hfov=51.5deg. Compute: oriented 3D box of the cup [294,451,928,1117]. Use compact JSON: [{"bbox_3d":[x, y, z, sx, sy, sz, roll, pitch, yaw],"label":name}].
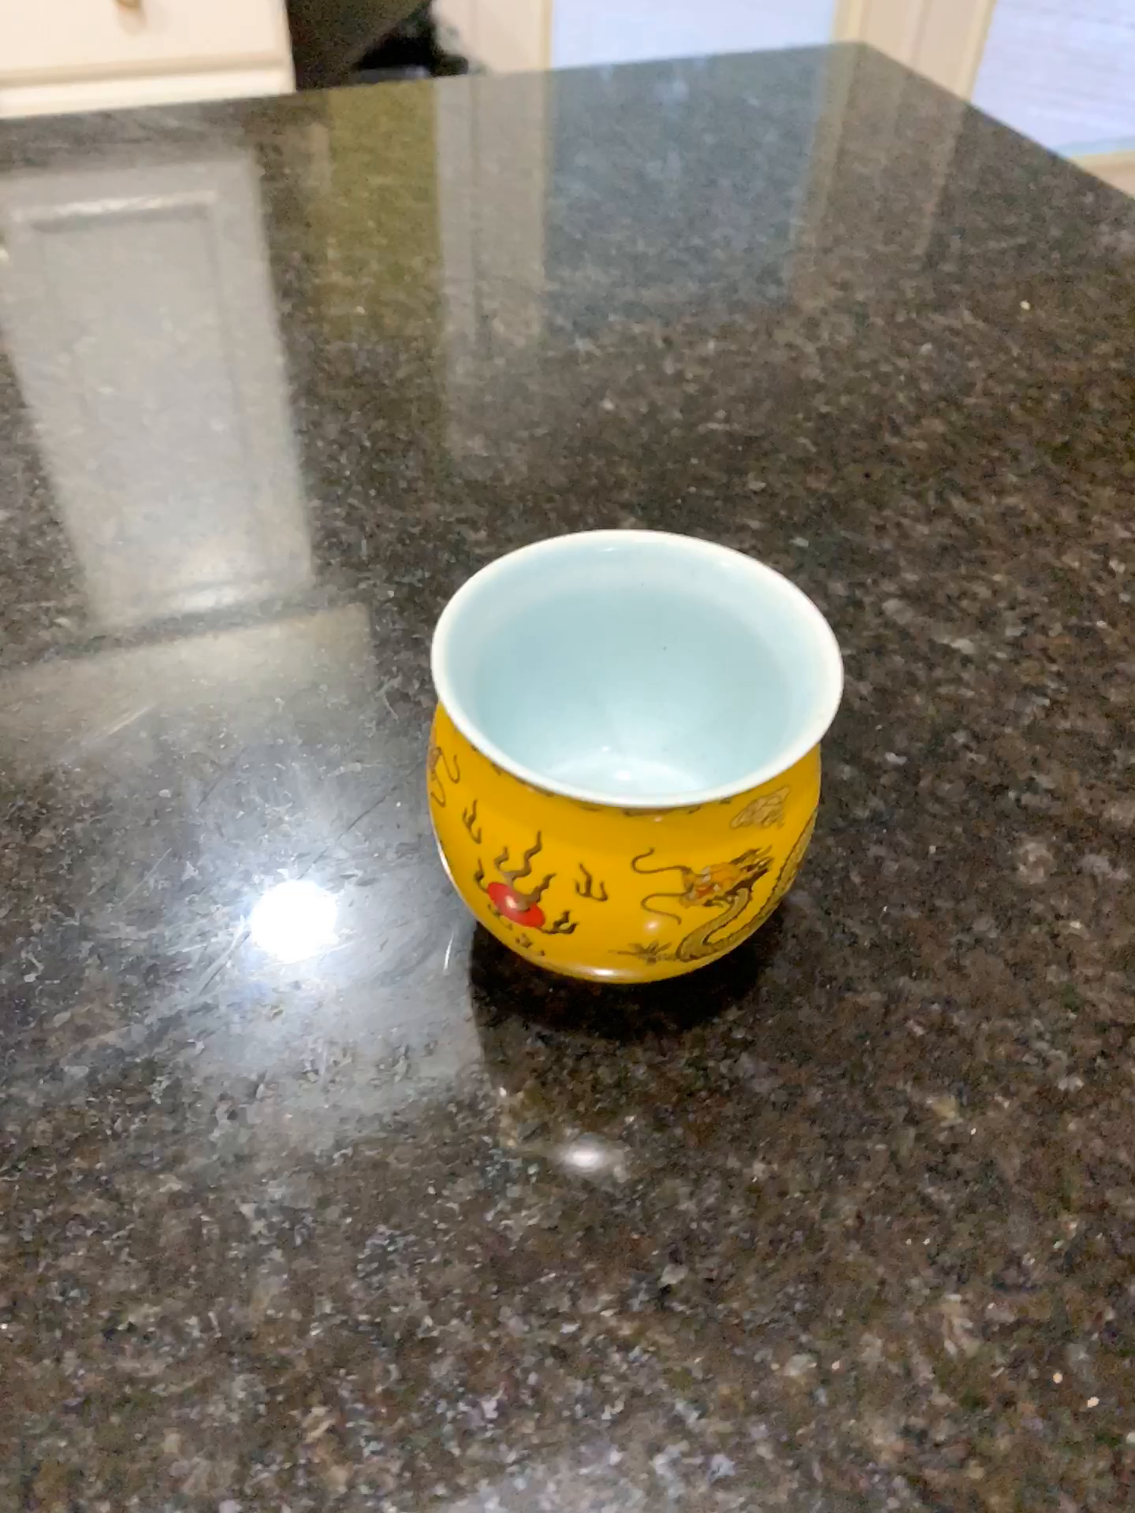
[{"bbox_3d":[0.008,0.001,0.215,0.072,0.066,0.076,1,45,-1],"label":"cup"}]
